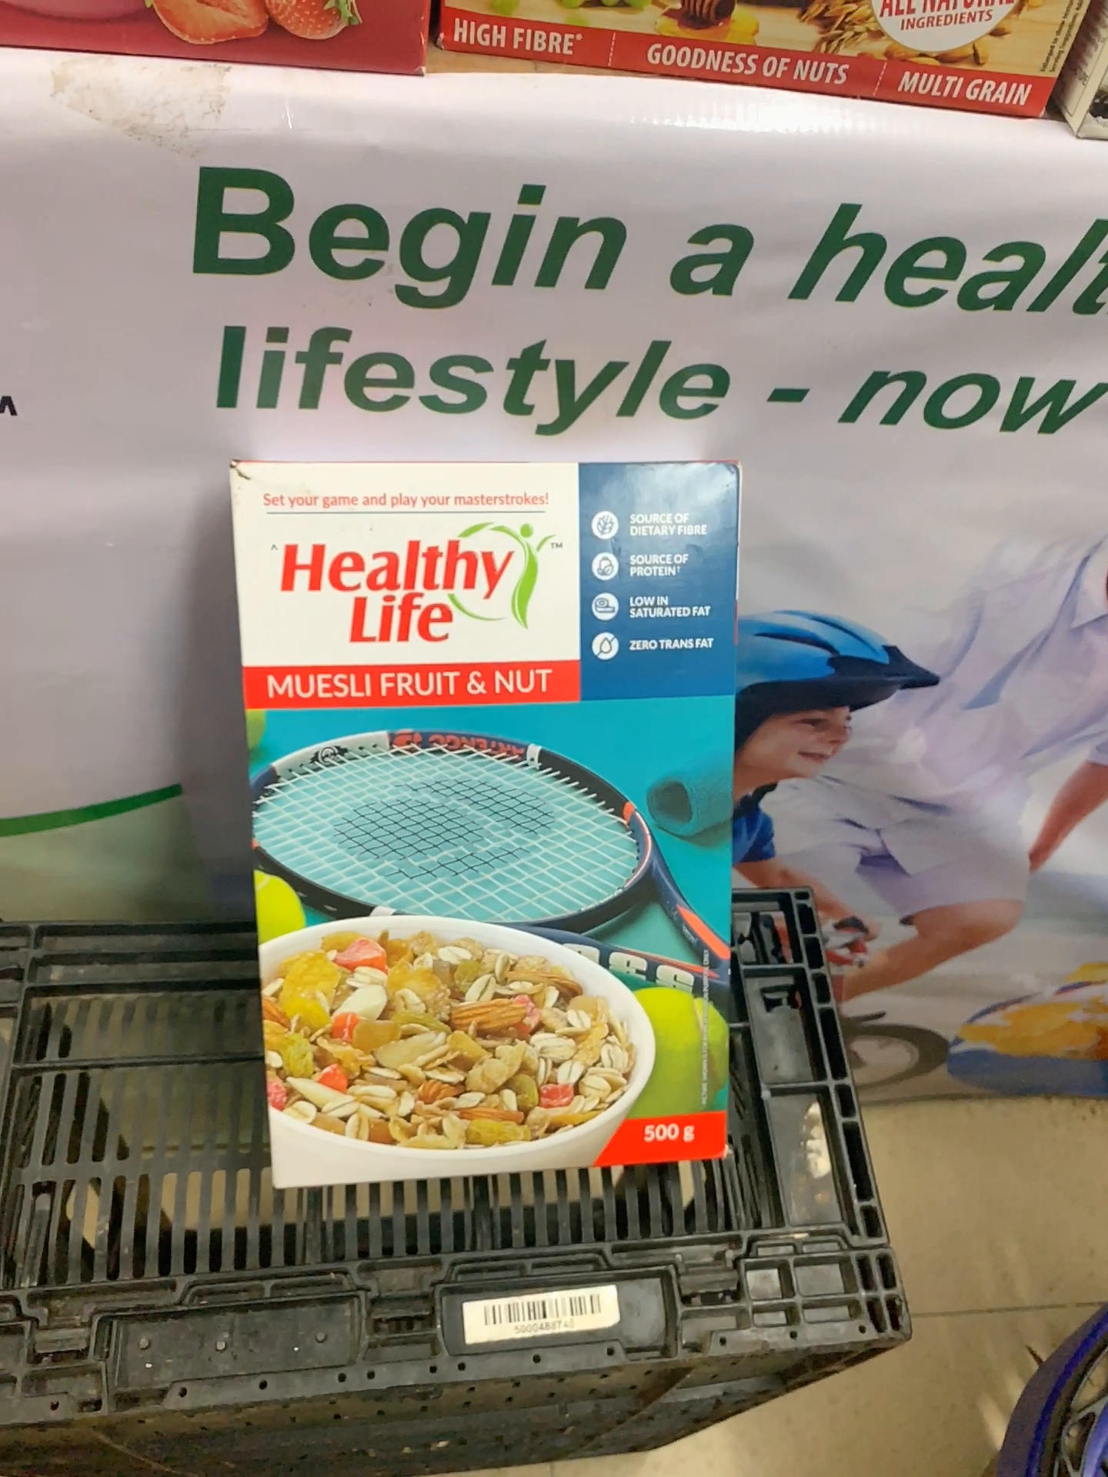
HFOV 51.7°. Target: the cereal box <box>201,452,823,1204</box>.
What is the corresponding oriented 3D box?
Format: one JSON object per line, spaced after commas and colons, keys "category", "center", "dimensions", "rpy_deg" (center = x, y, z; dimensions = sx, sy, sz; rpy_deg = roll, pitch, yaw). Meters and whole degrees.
{"category": "cereal box", "center": [-0.013, 0.028, 0.410], "dimensions": [0.190, 0.250, 0.070], "rpy_deg": [-2, 13, -6]}
